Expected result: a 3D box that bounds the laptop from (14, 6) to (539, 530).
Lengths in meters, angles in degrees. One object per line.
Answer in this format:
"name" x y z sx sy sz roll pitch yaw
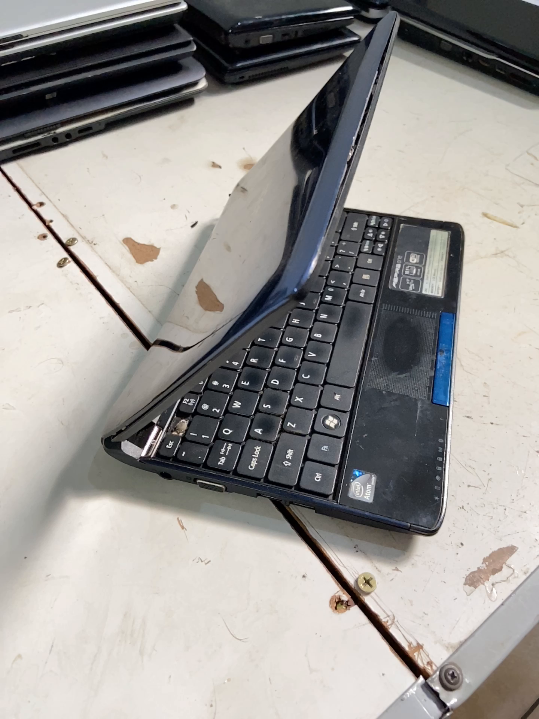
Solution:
"laptop" 0.027 -0.071 0.301 0.171 0.131 0.245 11 50 10
